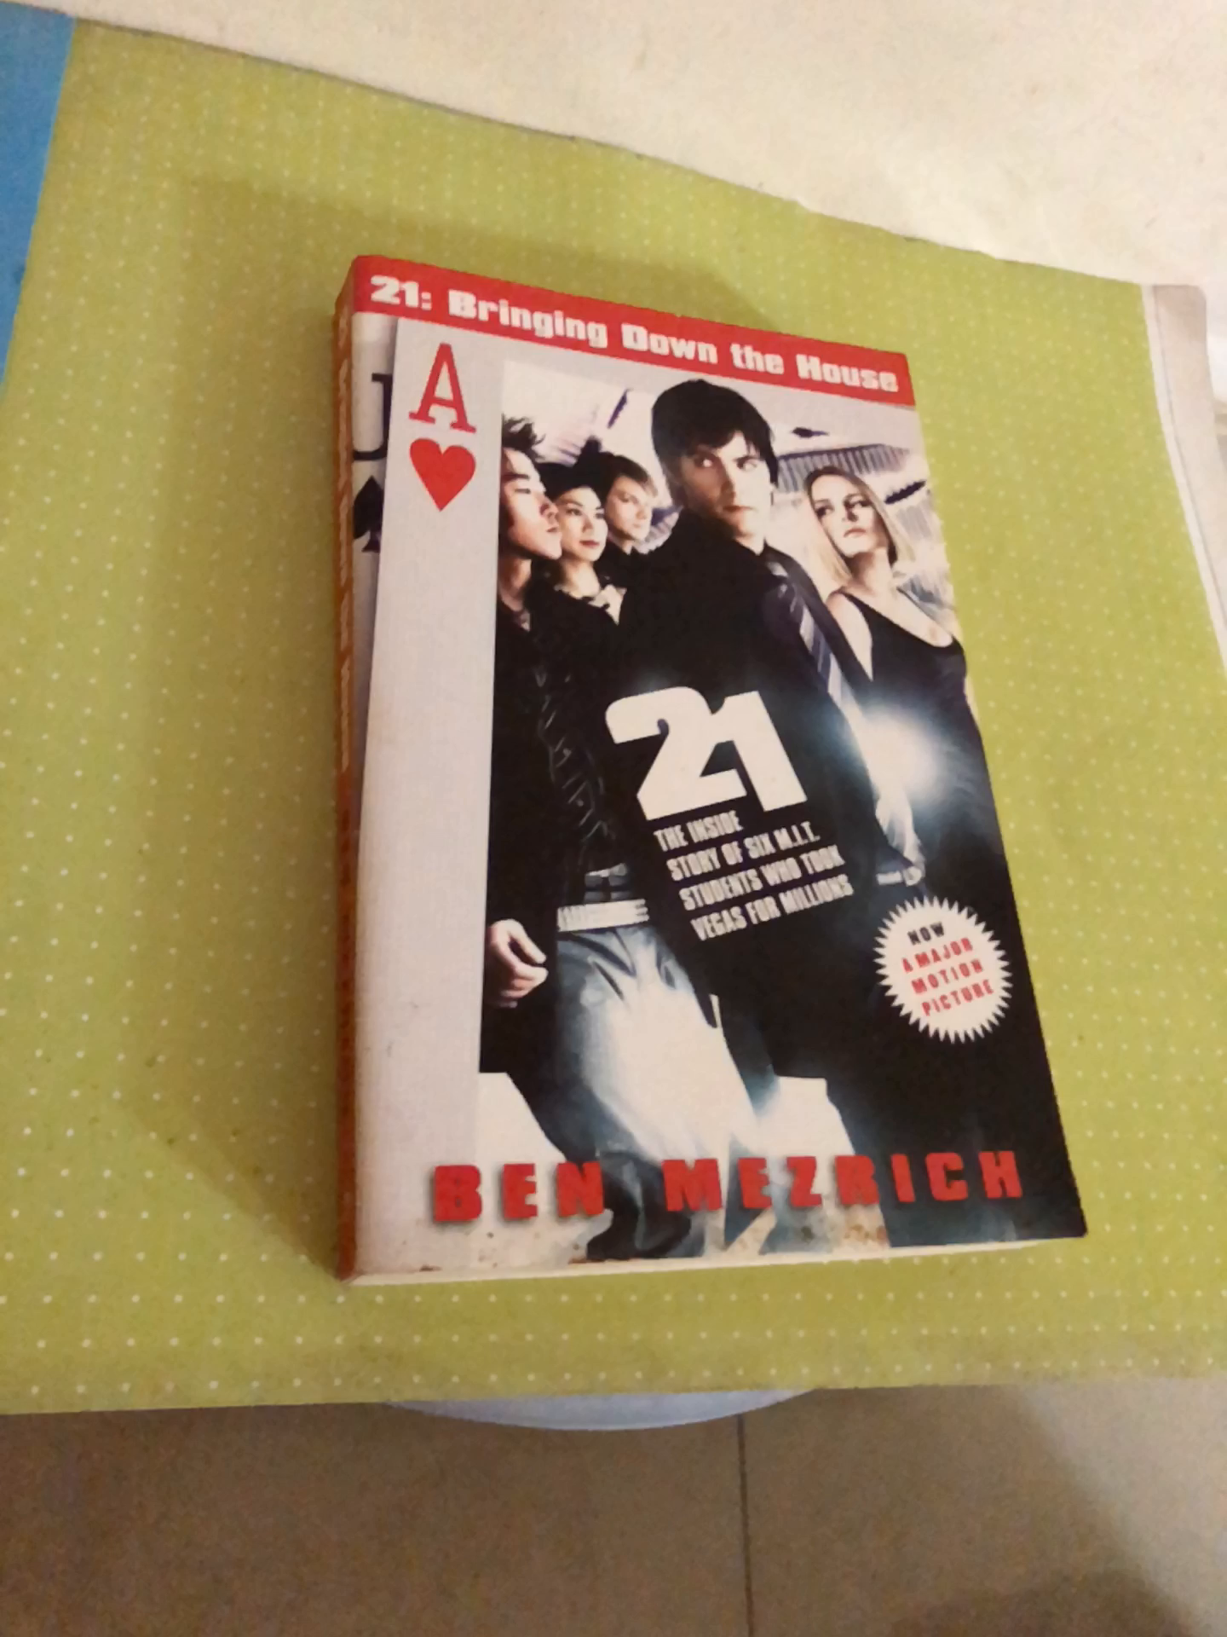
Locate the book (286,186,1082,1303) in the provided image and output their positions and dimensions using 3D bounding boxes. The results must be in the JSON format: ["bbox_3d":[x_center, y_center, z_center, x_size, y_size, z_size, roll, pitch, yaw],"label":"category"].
[{"bbox_3d":[0.003,-0.021,0.275,0.130,0.040,0.210,2,66,-19],"label":"book"}]
